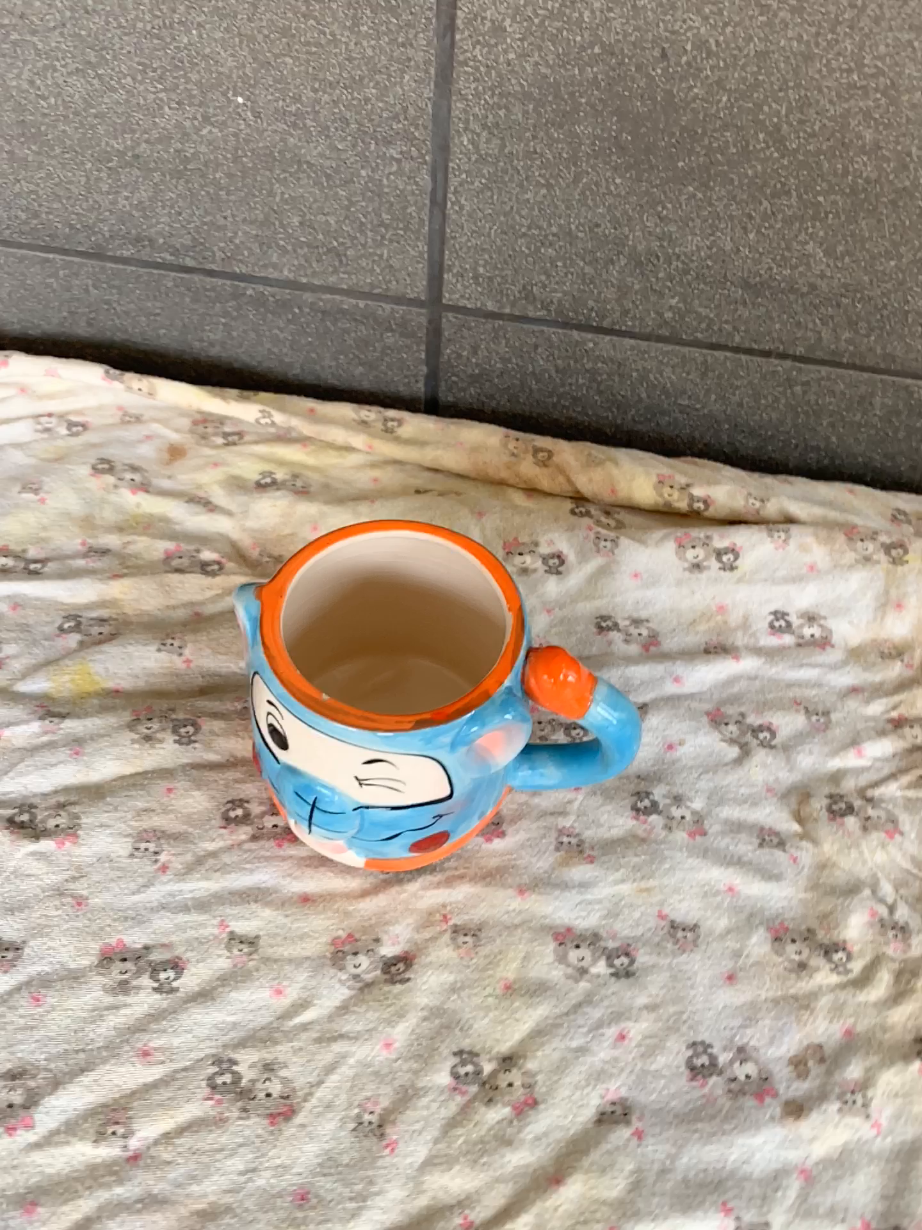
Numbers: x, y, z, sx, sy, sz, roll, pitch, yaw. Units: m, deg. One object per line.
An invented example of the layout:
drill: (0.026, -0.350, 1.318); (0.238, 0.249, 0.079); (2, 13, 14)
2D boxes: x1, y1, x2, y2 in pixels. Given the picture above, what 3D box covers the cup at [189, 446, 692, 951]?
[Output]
cup: (-0.002, 0.025, 0.282); (0.110, 0.090, 0.090); (14, 52, 7)
